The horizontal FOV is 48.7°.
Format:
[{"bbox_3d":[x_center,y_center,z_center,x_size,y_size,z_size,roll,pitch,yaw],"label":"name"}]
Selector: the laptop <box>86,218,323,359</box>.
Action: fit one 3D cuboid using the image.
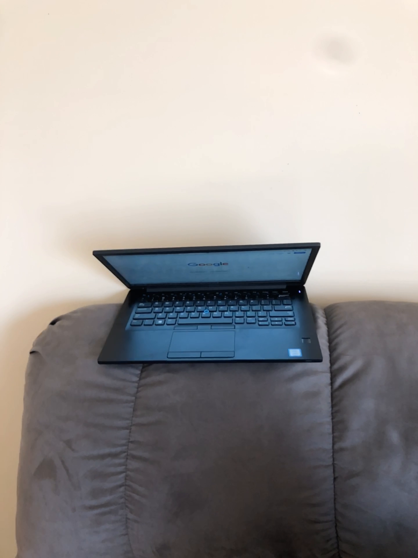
[{"bbox_3d":[0.001,0.006,0.738,0.321,0.128,0.214,-1,25,6],"label":"laptop"}]
